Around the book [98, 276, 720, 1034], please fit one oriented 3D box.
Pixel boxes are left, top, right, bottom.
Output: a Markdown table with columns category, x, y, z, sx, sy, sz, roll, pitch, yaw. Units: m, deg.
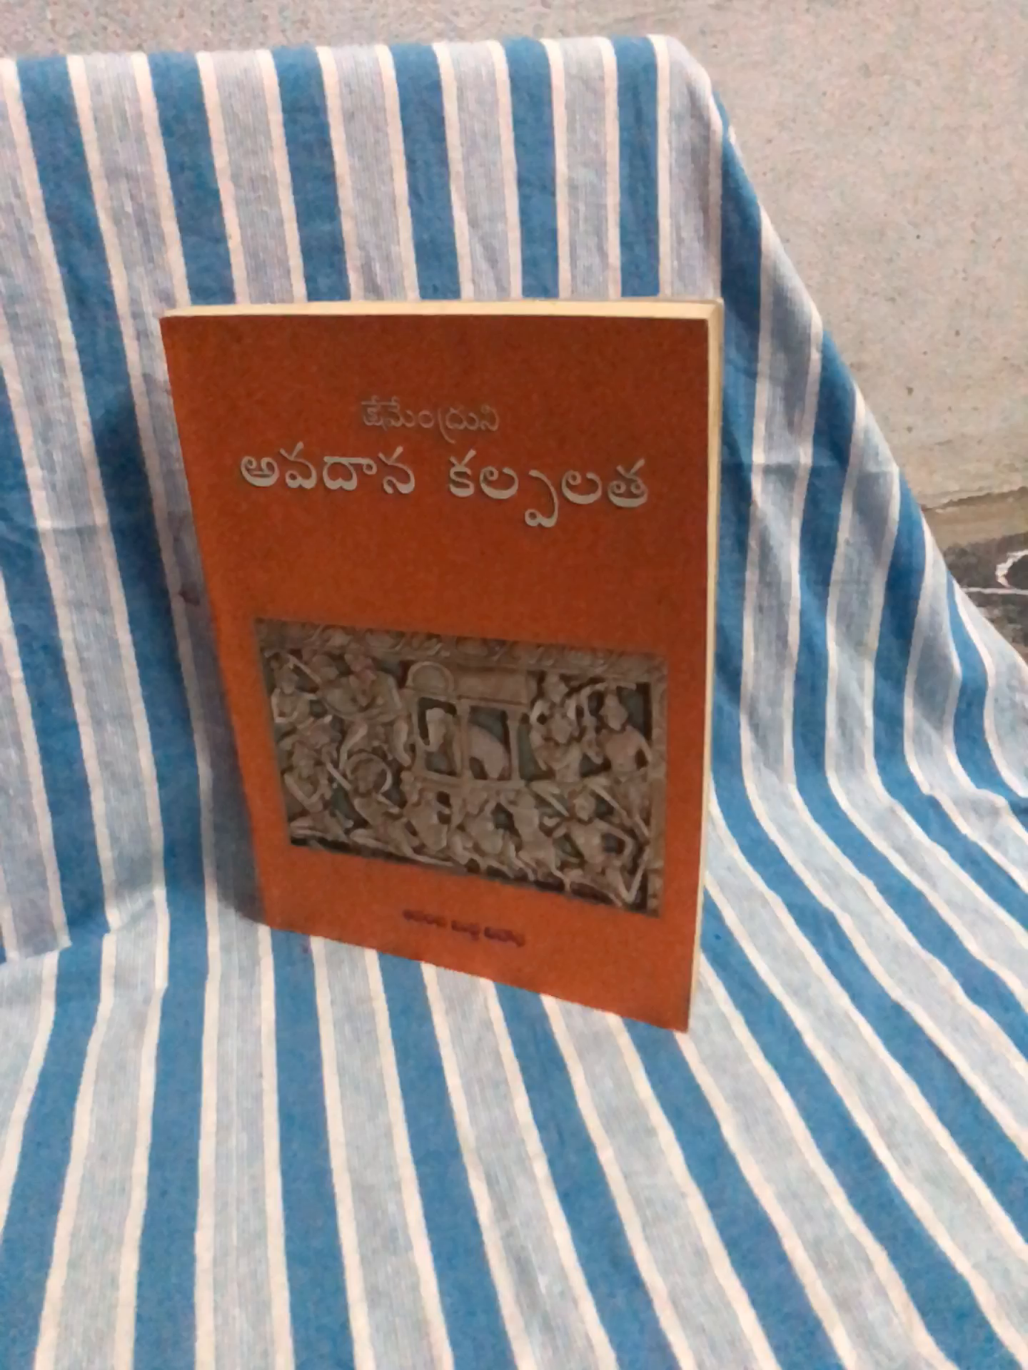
| category | x | y | z | sx | sy | sz | roll | pitch | yaw |
| --- | --- | --- | --- | --- | --- | --- | --- | --- | --- |
| book | -0.031 | -0.009 | 0.363 | 0.180 | 0.229 | 0.030 | 8 | 26 | 21 |
